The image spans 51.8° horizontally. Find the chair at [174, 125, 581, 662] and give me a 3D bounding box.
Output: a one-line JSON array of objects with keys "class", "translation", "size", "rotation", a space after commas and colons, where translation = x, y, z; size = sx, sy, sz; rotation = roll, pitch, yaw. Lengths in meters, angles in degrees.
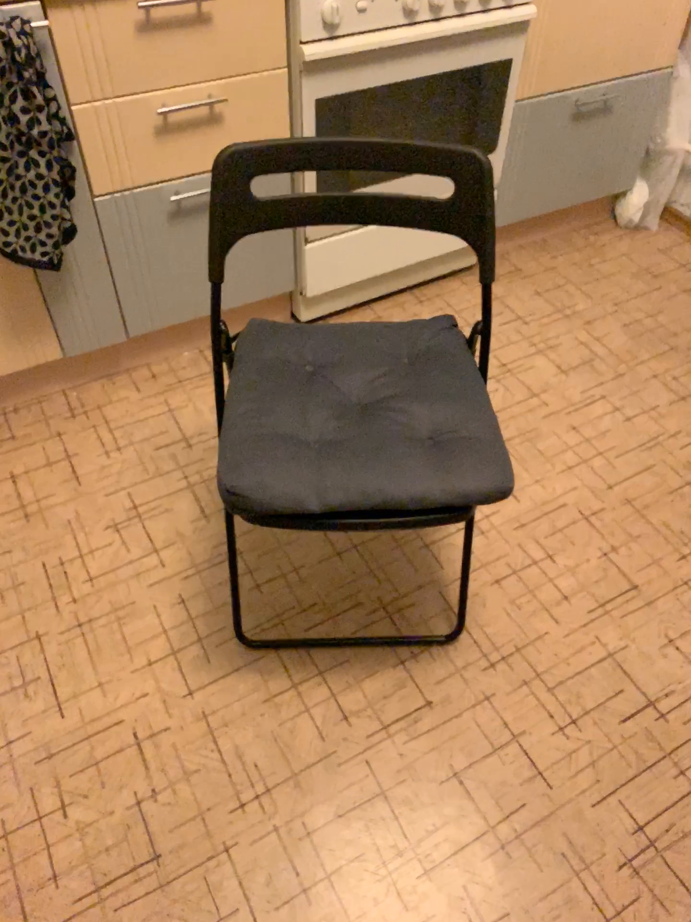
[{"class": "chair", "translation": [0.014, -0.073, 1.213], "size": [0.440, 0.776, 0.482], "rotation": [-2, 48, -3]}]
